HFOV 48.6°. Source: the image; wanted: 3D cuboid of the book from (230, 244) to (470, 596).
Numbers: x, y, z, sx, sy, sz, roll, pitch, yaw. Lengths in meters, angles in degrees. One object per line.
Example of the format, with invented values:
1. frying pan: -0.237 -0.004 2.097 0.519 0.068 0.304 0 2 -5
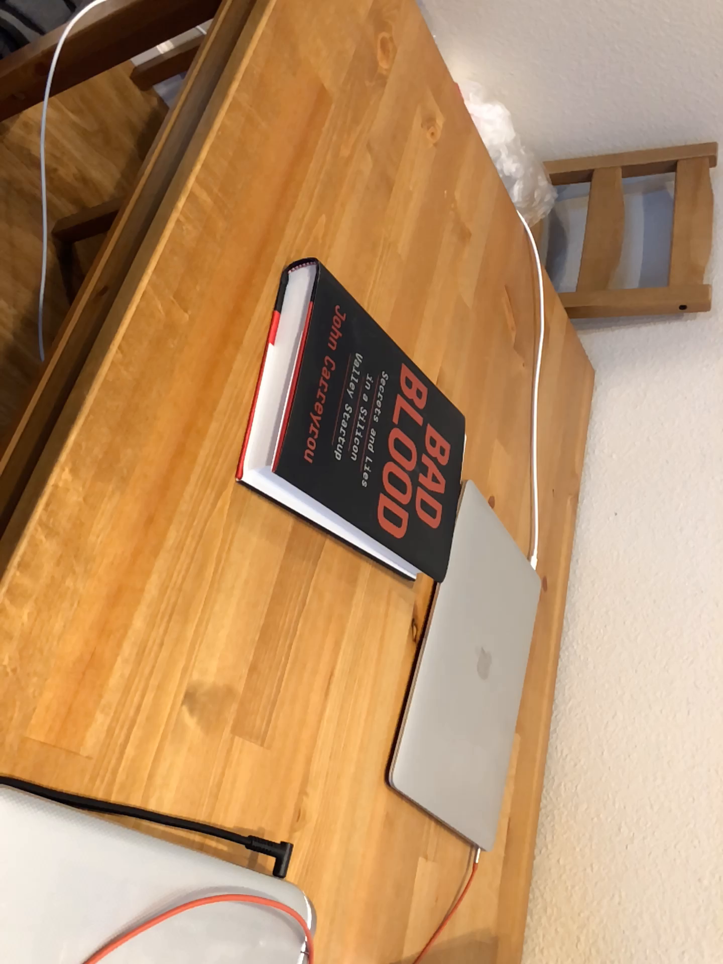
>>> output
1. book: 0.009 -0.032 0.624 0.252 0.030 0.178 36 57 -50
